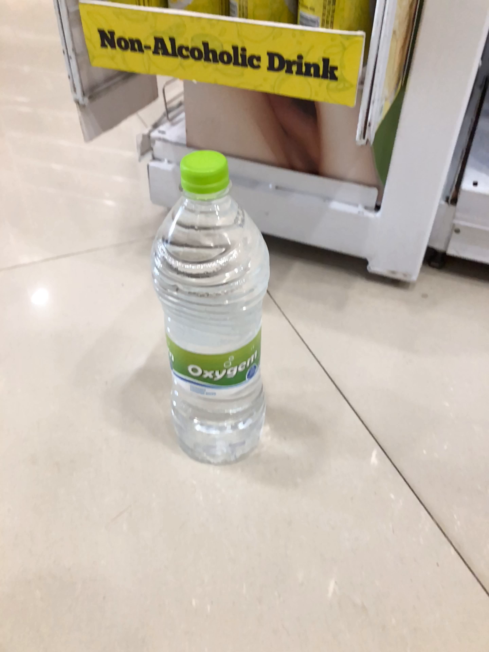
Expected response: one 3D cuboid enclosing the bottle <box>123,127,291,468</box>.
[{"bbox_3d":[-0.024,-0.005,0.407,0.090,0.258,0.081,-2,41,-4],"label":"bottle"}]
